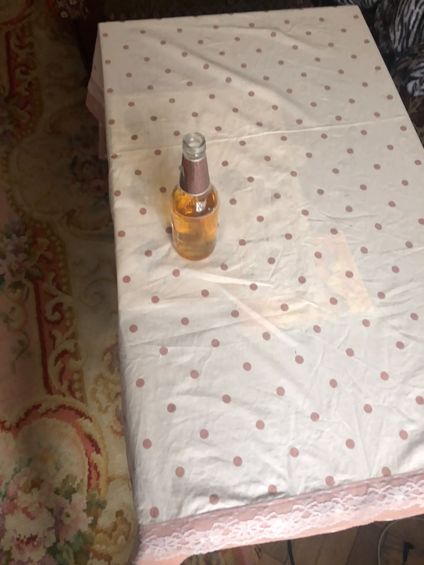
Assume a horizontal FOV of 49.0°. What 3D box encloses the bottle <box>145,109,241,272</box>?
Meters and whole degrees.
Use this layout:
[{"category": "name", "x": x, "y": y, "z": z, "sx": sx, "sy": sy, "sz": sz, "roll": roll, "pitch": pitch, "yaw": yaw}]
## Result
[{"category": "bottle", "x": -0.026, "y": -0.110, "z": 0.616, "sx": 0.080, "sy": 0.209, "sz": 0.080, "roll": 1, "pitch": 65, "yaw": -3}]
